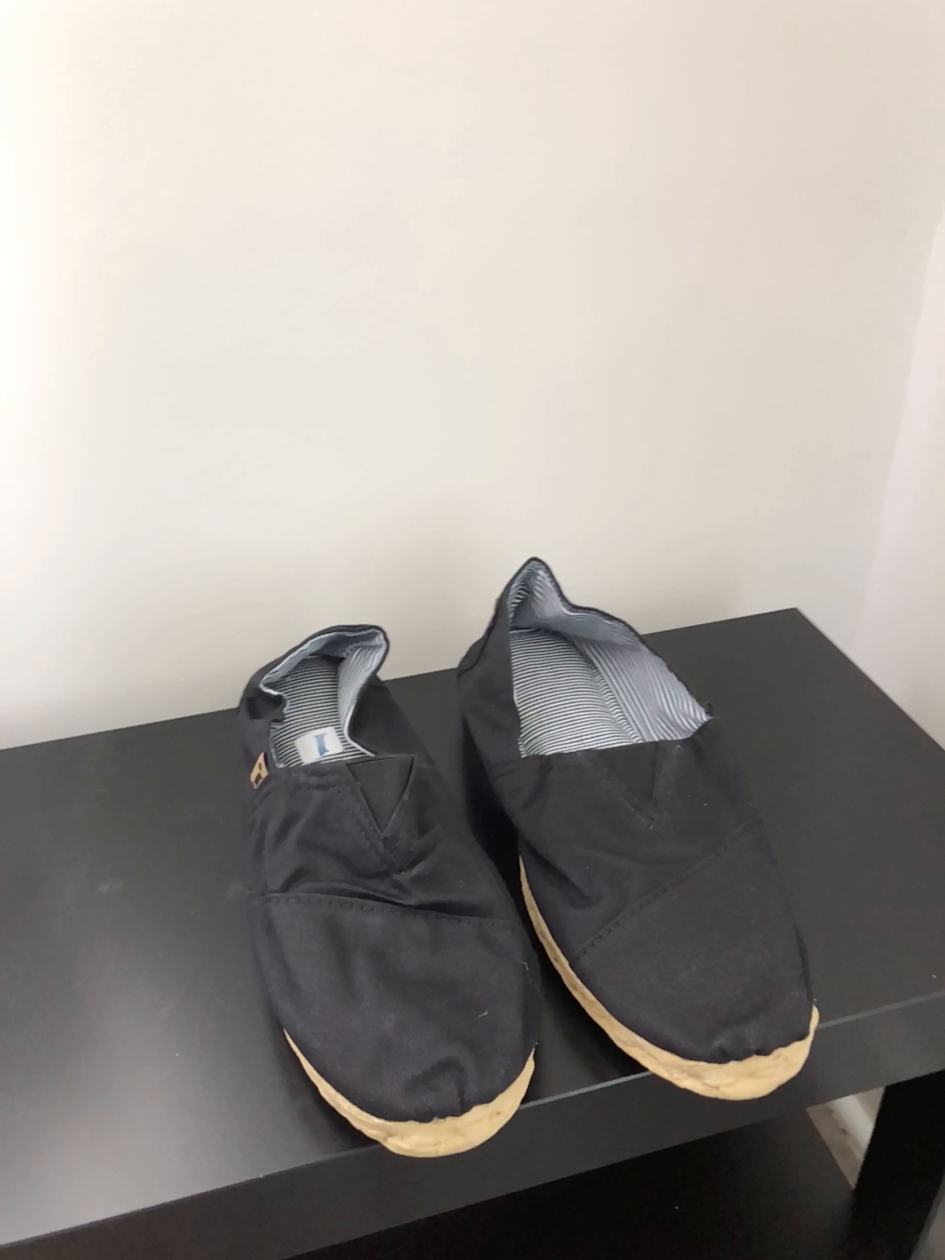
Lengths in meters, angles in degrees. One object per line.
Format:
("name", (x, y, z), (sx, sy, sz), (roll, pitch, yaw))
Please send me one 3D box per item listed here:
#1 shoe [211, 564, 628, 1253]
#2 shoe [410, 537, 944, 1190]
("shoe", (-0.040, 0.079, 0.423), (0.101, 0.080, 0.275), (-10, 34, -12))
("shoe", (0.056, 0.065, 0.432), (0.101, 0.080, 0.275), (-10, 34, -12))
